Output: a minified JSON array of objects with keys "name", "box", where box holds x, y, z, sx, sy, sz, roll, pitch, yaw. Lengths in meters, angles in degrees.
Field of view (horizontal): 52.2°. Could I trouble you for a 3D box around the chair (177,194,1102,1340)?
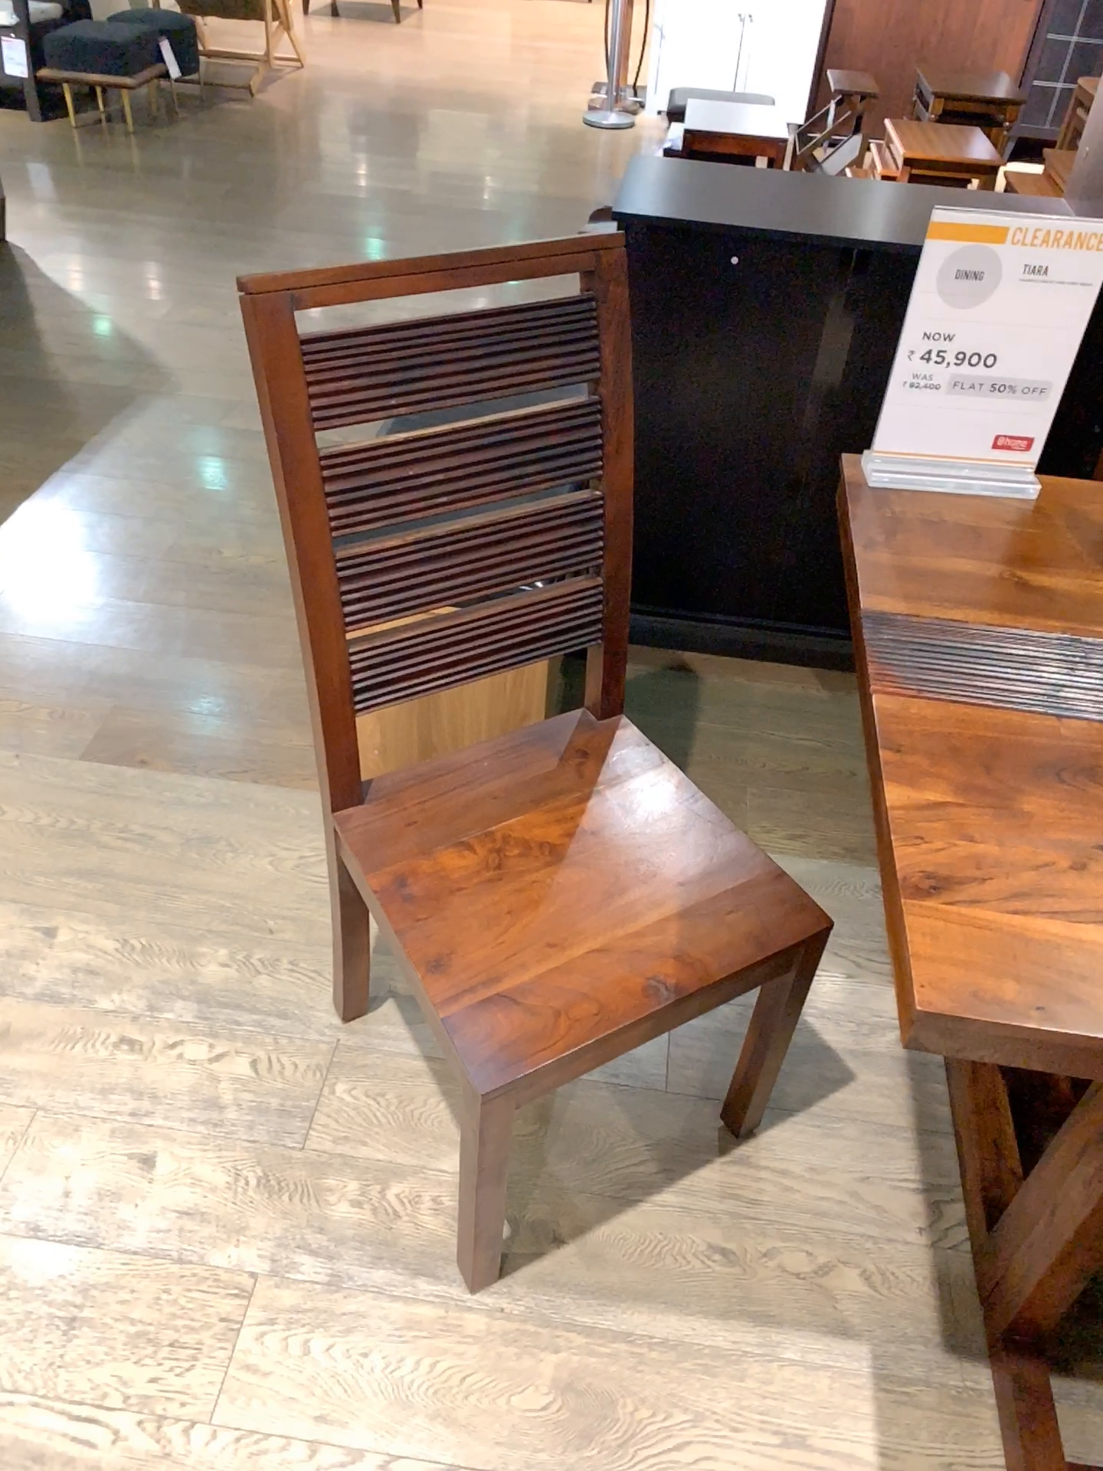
[{"name":"chair","box":[0.018,0.052,1.198,0.521,0.996,0.531,-19,45,-26]}]
